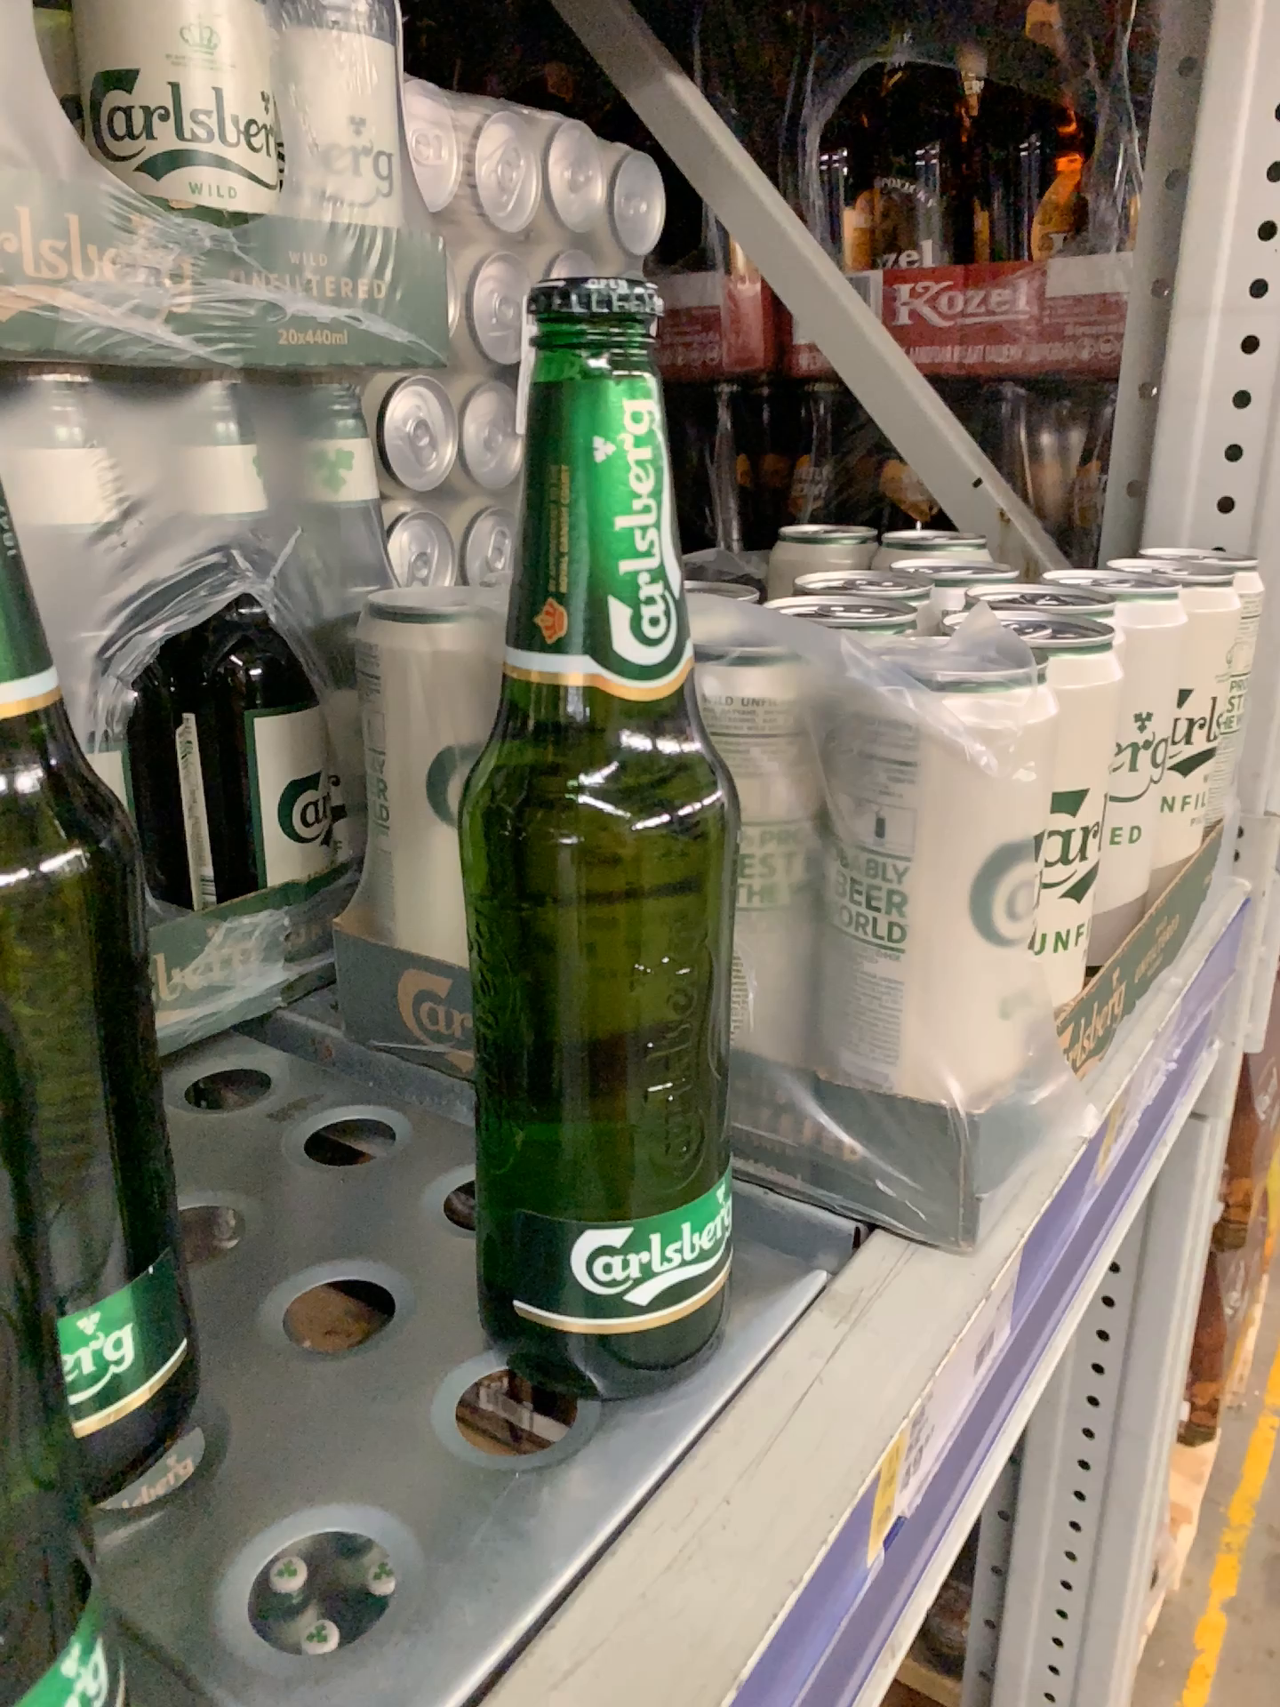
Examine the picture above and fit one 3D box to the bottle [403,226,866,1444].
[{"bbox_3d":[-0.001,-0.001,0.302,0.060,0.249,0.072,17,24,41],"label":"bottle"}]
